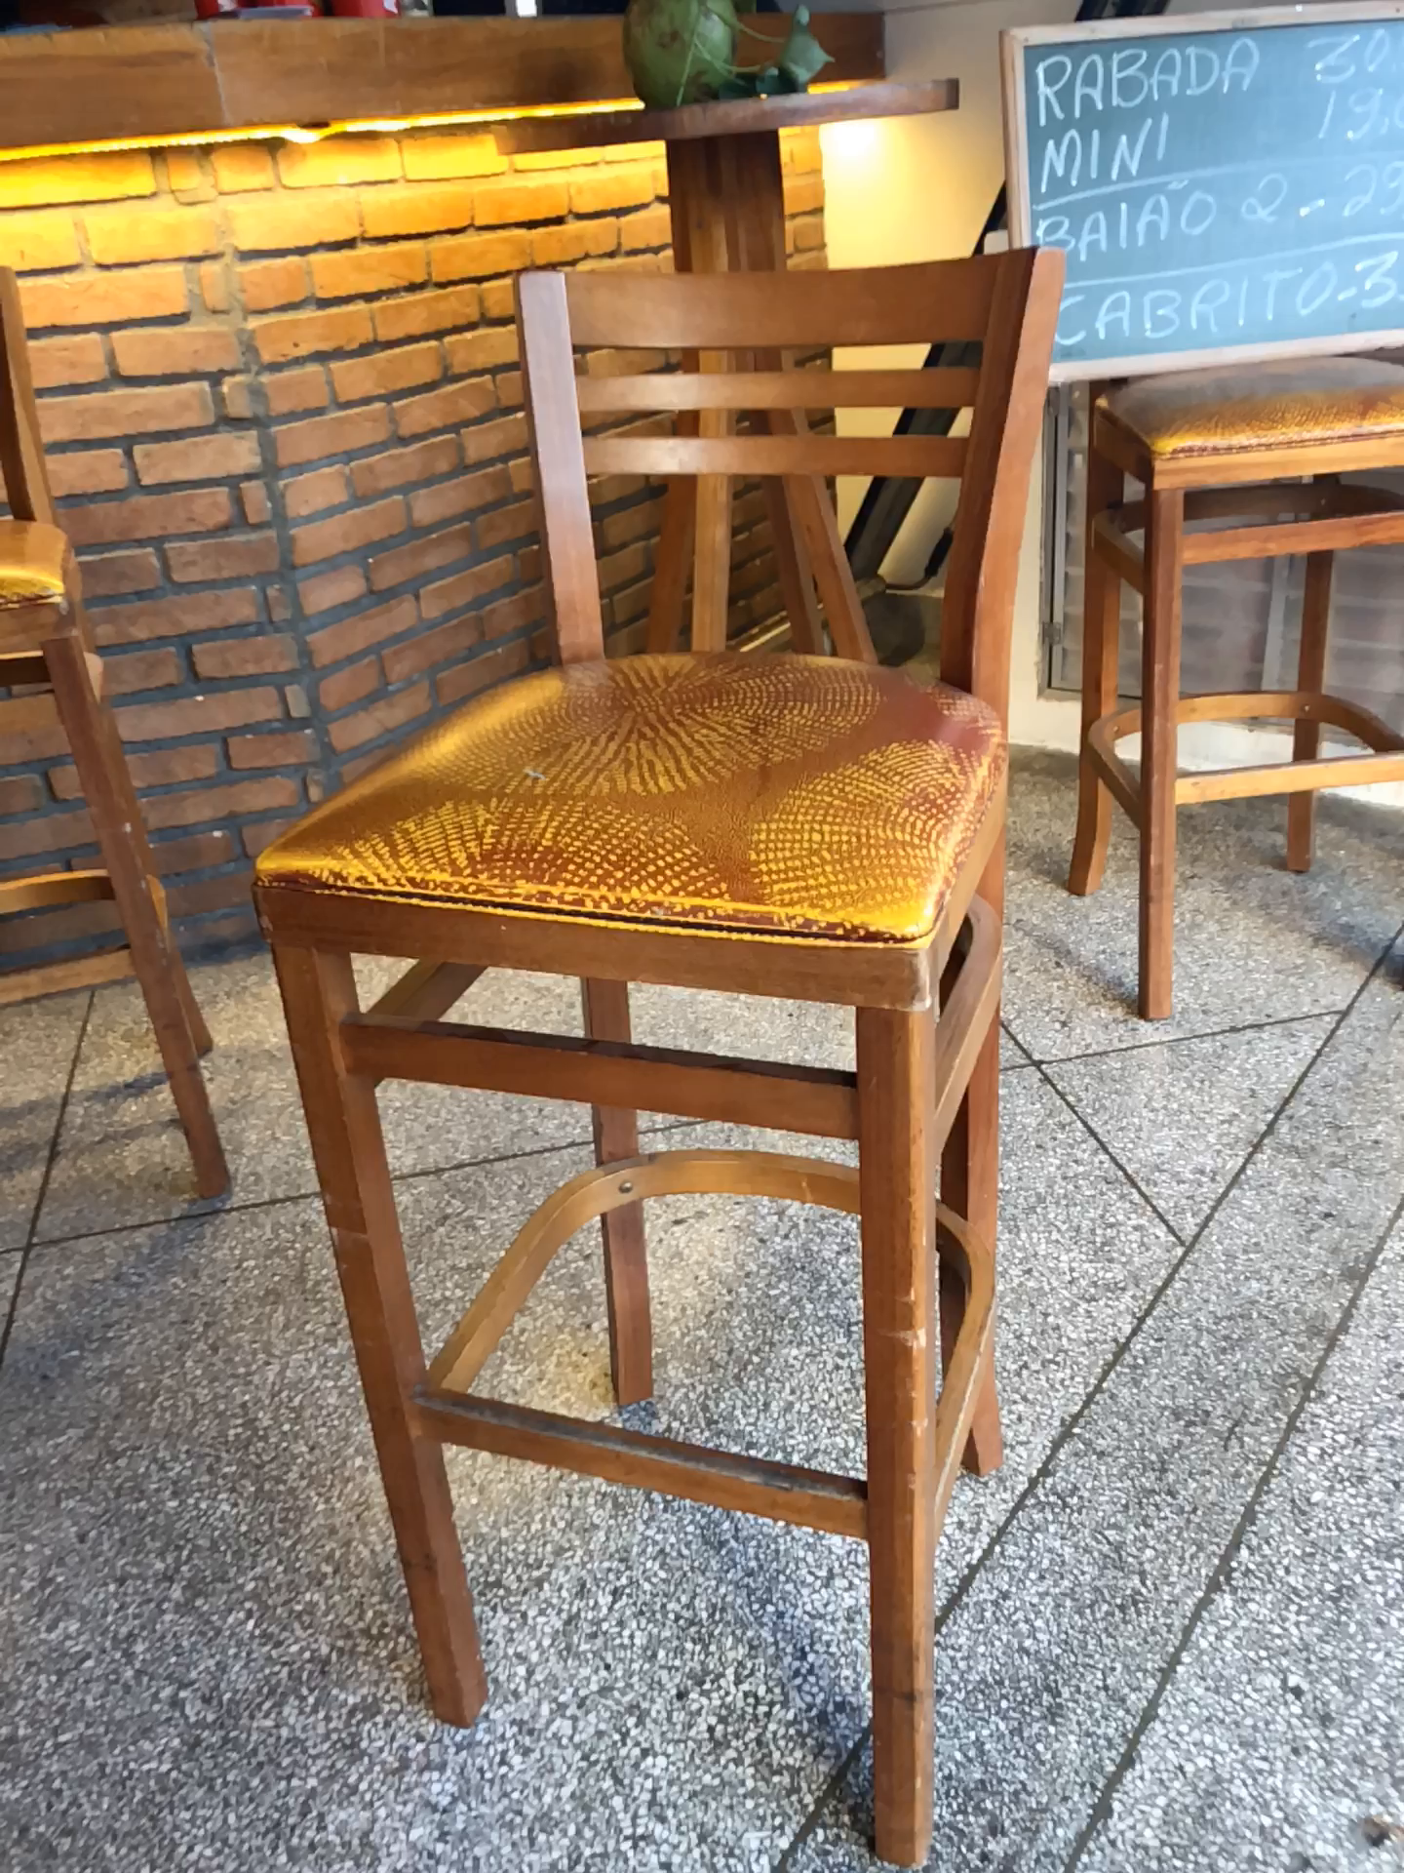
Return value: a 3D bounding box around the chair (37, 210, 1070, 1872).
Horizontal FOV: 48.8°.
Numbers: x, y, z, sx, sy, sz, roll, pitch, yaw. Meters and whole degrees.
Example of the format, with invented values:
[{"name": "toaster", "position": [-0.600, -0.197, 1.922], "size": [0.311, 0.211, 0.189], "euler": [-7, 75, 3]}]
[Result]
[{"name": "chair", "position": [-0.003, 0.078, 1.038], "size": [0.400, 0.973, 0.433], "euler": [6, 29, 21]}]
